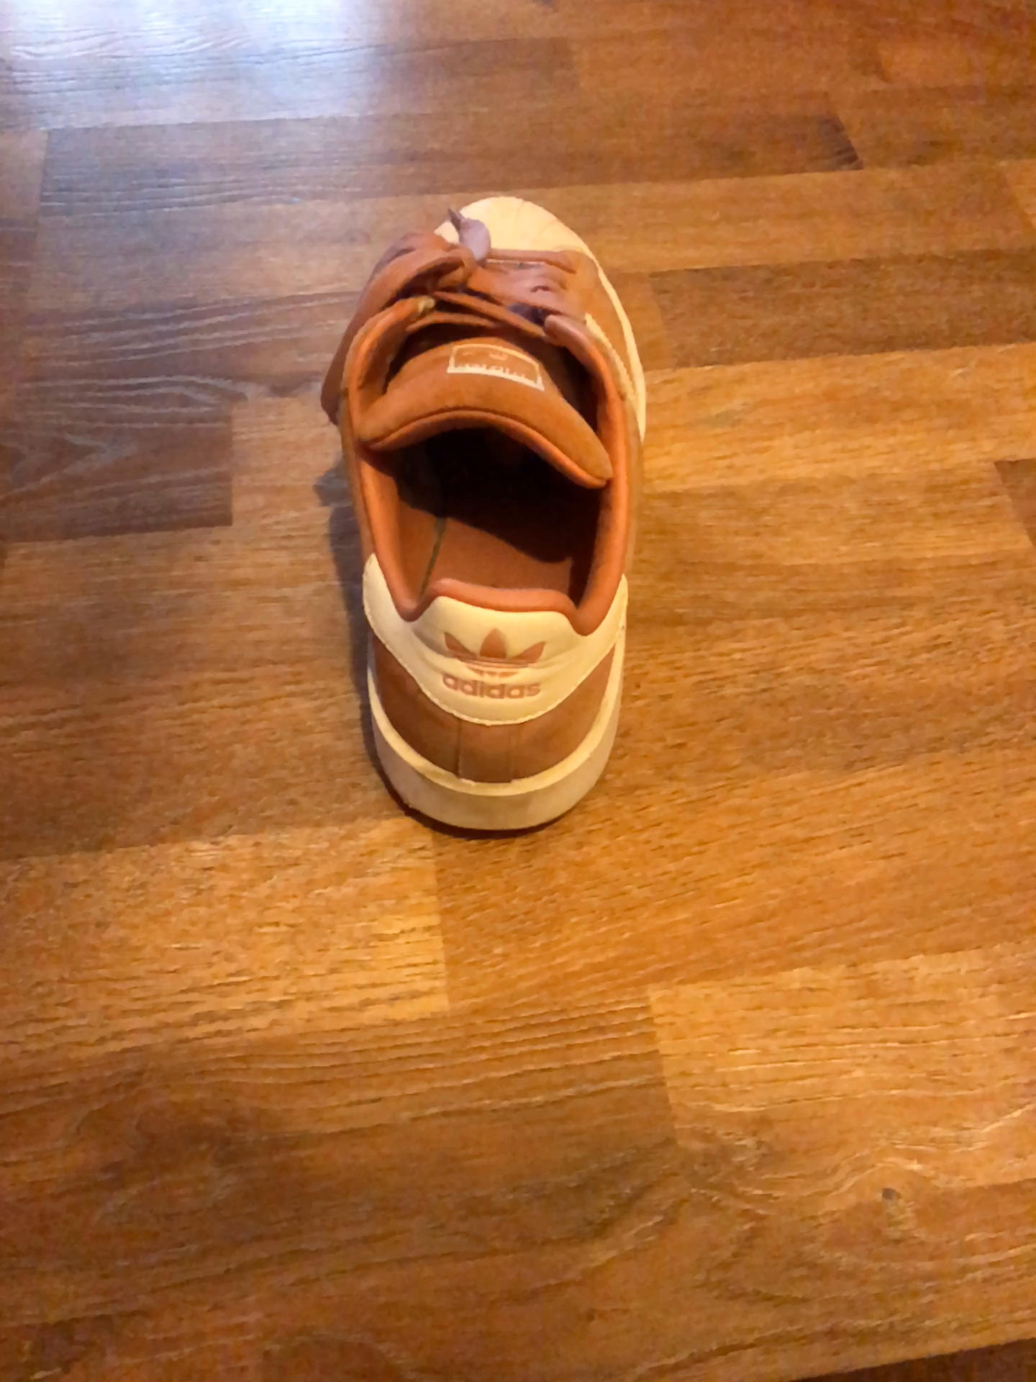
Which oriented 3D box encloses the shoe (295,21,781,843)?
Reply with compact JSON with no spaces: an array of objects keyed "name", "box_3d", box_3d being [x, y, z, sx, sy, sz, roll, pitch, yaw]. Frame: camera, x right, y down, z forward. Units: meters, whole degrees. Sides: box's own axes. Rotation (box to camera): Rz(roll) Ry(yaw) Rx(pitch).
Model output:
[{"name":"shoe","box_3d":[0.000,-0.093,0.377,0.110,0.109,0.261,0,57,-3]}]
